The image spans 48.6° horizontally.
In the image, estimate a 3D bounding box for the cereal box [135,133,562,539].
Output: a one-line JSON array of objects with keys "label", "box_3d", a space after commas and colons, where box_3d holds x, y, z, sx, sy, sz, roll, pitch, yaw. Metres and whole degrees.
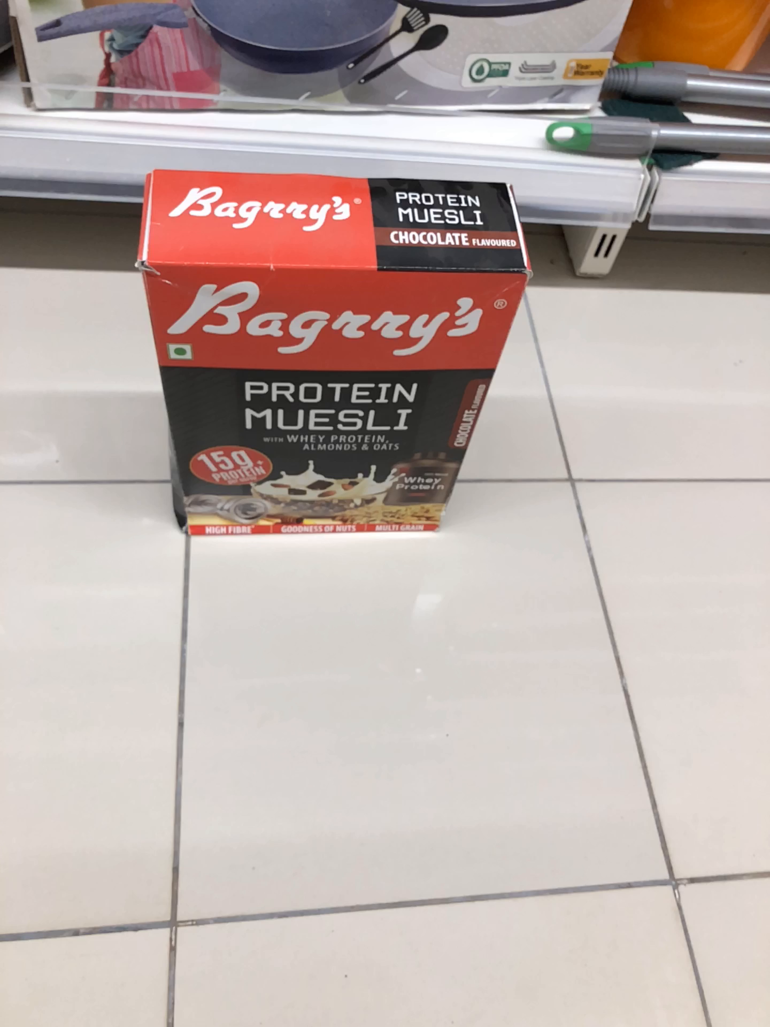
[{"label": "cereal box", "box_3d": [-0.030, -0.083, 0.498, 0.190, 0.239, 0.080, -1, 57, -9]}]
